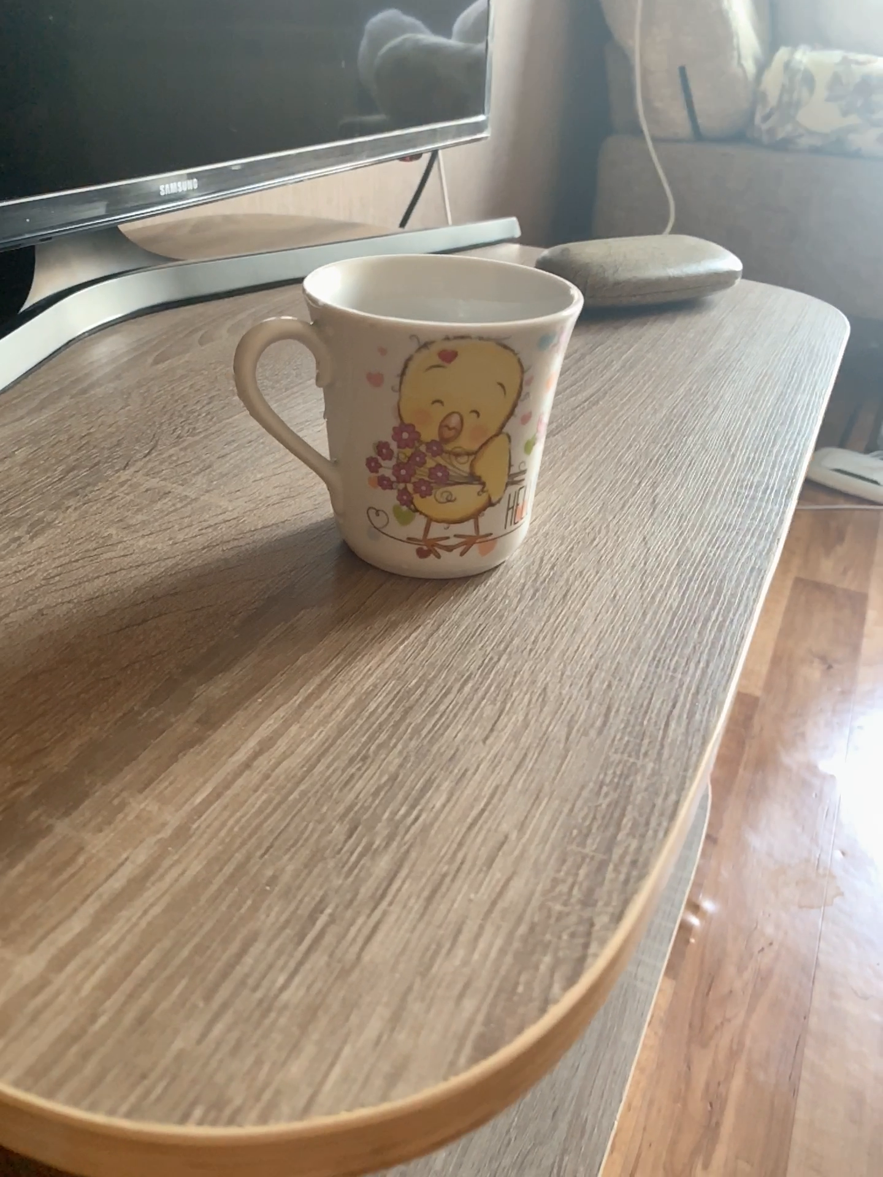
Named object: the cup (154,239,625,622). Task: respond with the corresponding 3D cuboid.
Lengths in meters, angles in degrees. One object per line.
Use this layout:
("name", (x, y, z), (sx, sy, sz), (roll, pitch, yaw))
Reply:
("cup", (-0.017, -0.053, 0.270), (0.110, 0.080, 0.070), (-12, 34, -24))
